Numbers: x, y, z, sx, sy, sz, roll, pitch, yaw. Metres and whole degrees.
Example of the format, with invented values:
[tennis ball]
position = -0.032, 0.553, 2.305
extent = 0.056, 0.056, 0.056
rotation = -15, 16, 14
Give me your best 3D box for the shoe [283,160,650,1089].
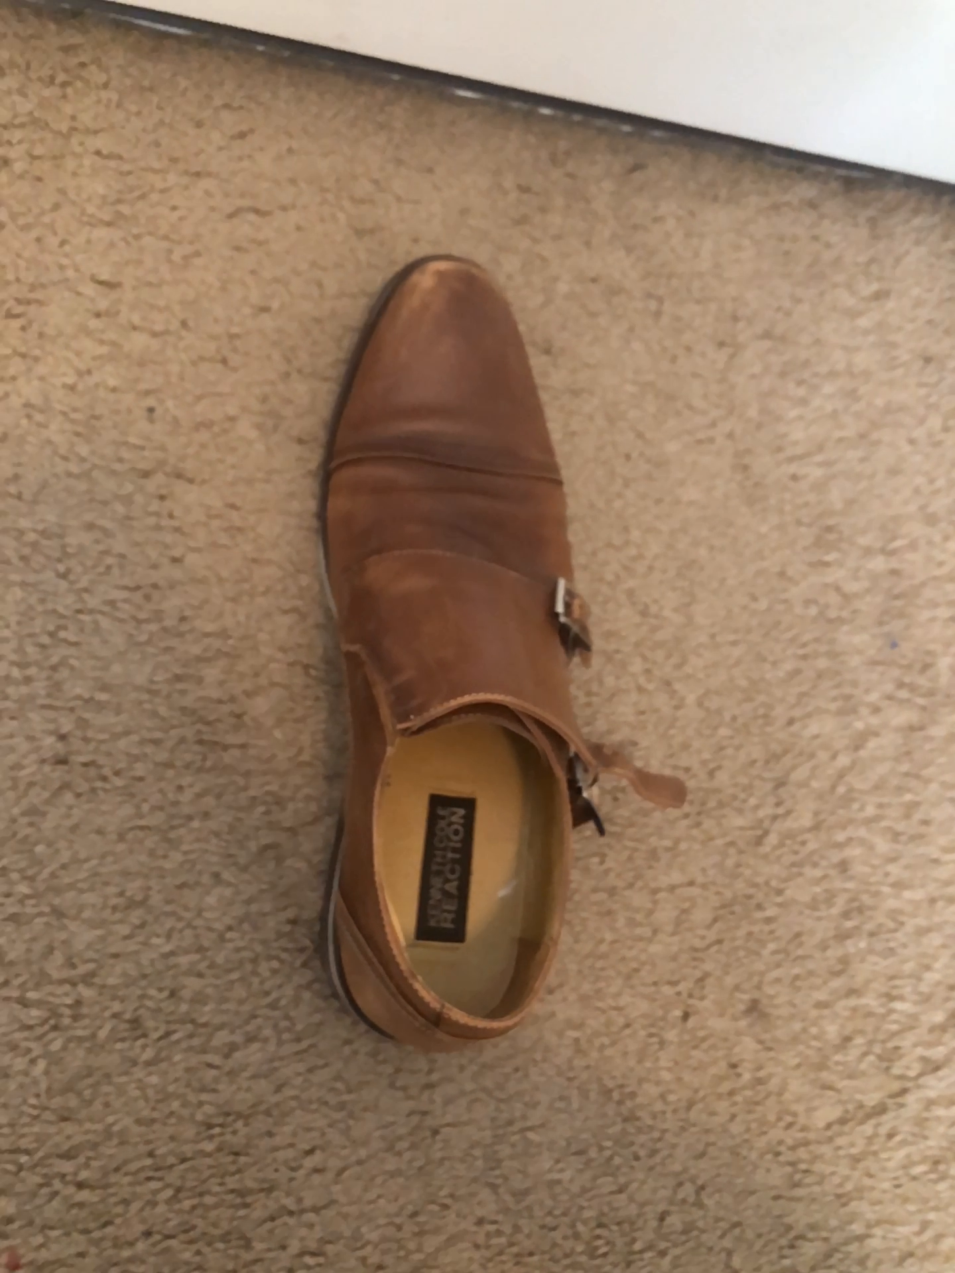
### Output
[shoe]
position = -0.008, -0.003, 0.388
extent = 0.100, 0.107, 0.286
rotation = 3, 80, -17
